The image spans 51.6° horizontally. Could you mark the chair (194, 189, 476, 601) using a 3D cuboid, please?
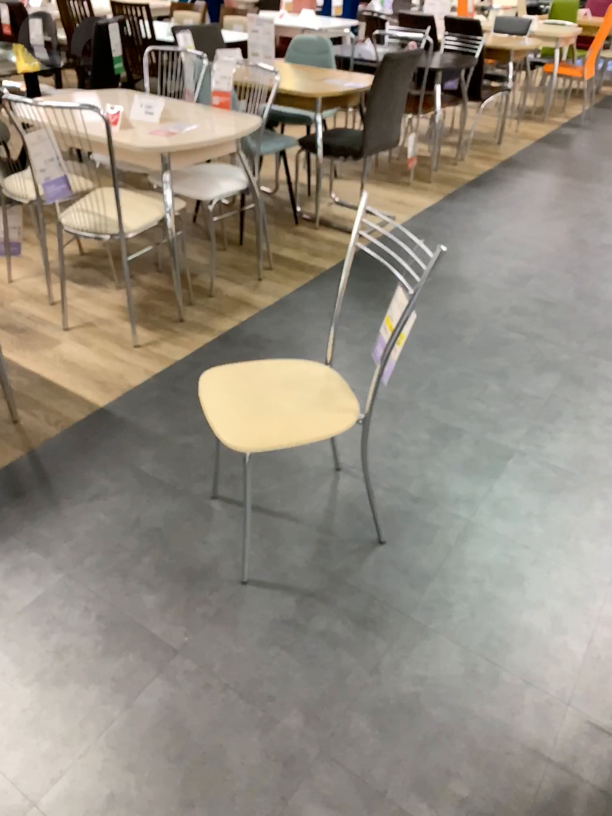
[{"bbox_3d":[0.029,-0.021,1.620,0.481,0.905,0.412,-11,38,-18],"label":"chair"}]
